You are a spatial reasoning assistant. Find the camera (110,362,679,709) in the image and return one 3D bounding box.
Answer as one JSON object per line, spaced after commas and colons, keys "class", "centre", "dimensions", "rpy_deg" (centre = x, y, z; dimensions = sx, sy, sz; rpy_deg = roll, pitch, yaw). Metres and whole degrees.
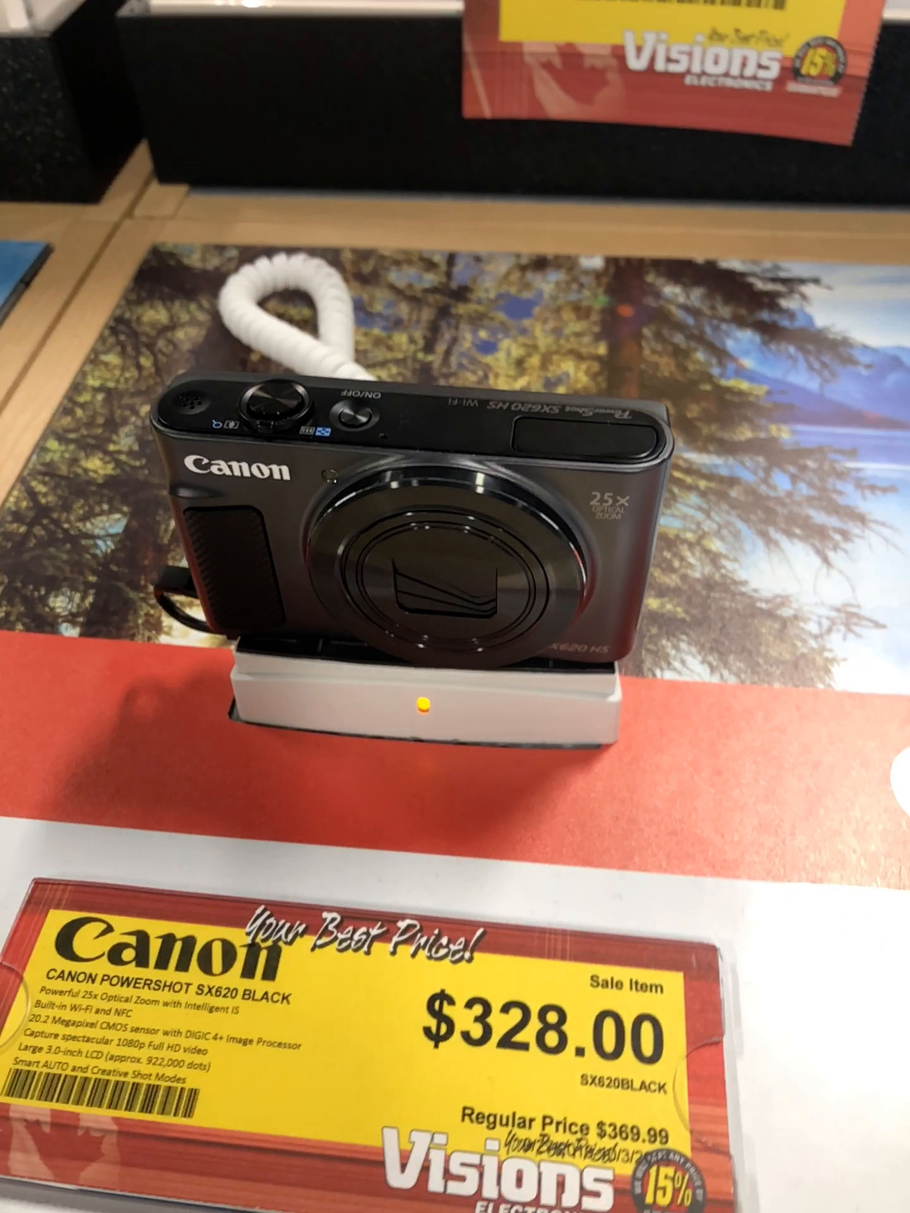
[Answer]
{"class": "camera", "centre": [-0.009, -0.013, 0.208], "dimensions": [0.100, 0.060, 0.030], "rpy_deg": [5, 49, 7]}
